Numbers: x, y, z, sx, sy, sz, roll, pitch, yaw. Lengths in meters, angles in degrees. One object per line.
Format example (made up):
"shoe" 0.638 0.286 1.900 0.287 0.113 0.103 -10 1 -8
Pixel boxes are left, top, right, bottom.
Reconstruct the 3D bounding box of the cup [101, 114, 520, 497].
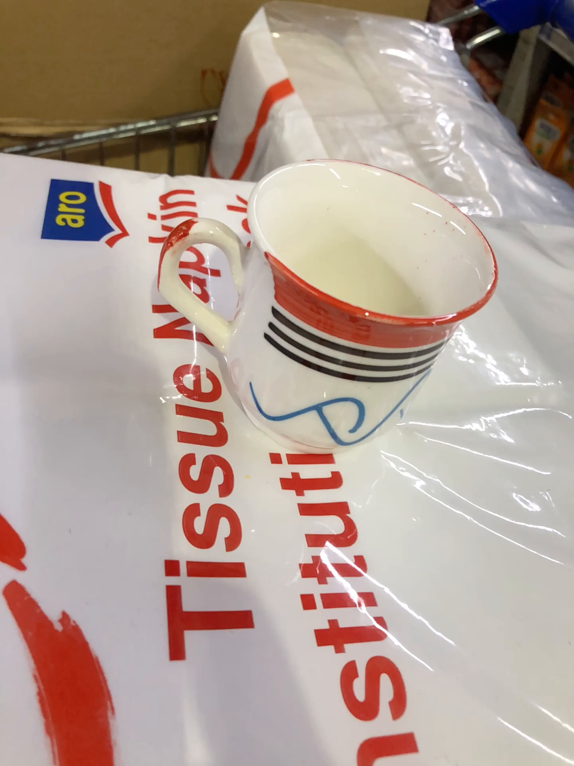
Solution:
"cup" 0.002 -0.020 0.180 0.090 0.060 0.070 9 49 -8
